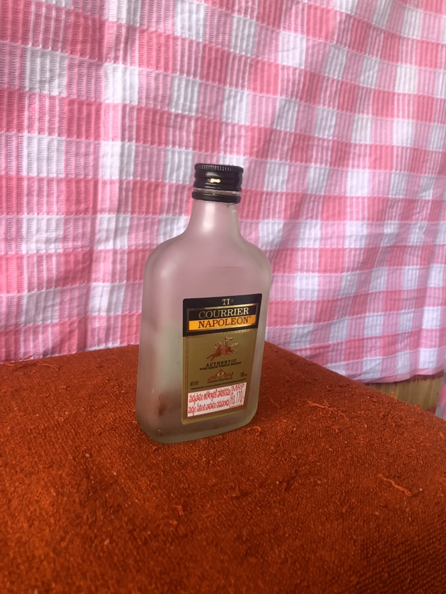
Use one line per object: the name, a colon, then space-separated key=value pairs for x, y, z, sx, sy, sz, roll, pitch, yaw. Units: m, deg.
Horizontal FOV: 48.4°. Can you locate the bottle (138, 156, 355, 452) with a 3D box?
bottle: x=0.010 y=0.001 z=0.256 sx=0.080 sy=0.130 sz=0.050 roll=-2 pitch=16 yaw=-36
